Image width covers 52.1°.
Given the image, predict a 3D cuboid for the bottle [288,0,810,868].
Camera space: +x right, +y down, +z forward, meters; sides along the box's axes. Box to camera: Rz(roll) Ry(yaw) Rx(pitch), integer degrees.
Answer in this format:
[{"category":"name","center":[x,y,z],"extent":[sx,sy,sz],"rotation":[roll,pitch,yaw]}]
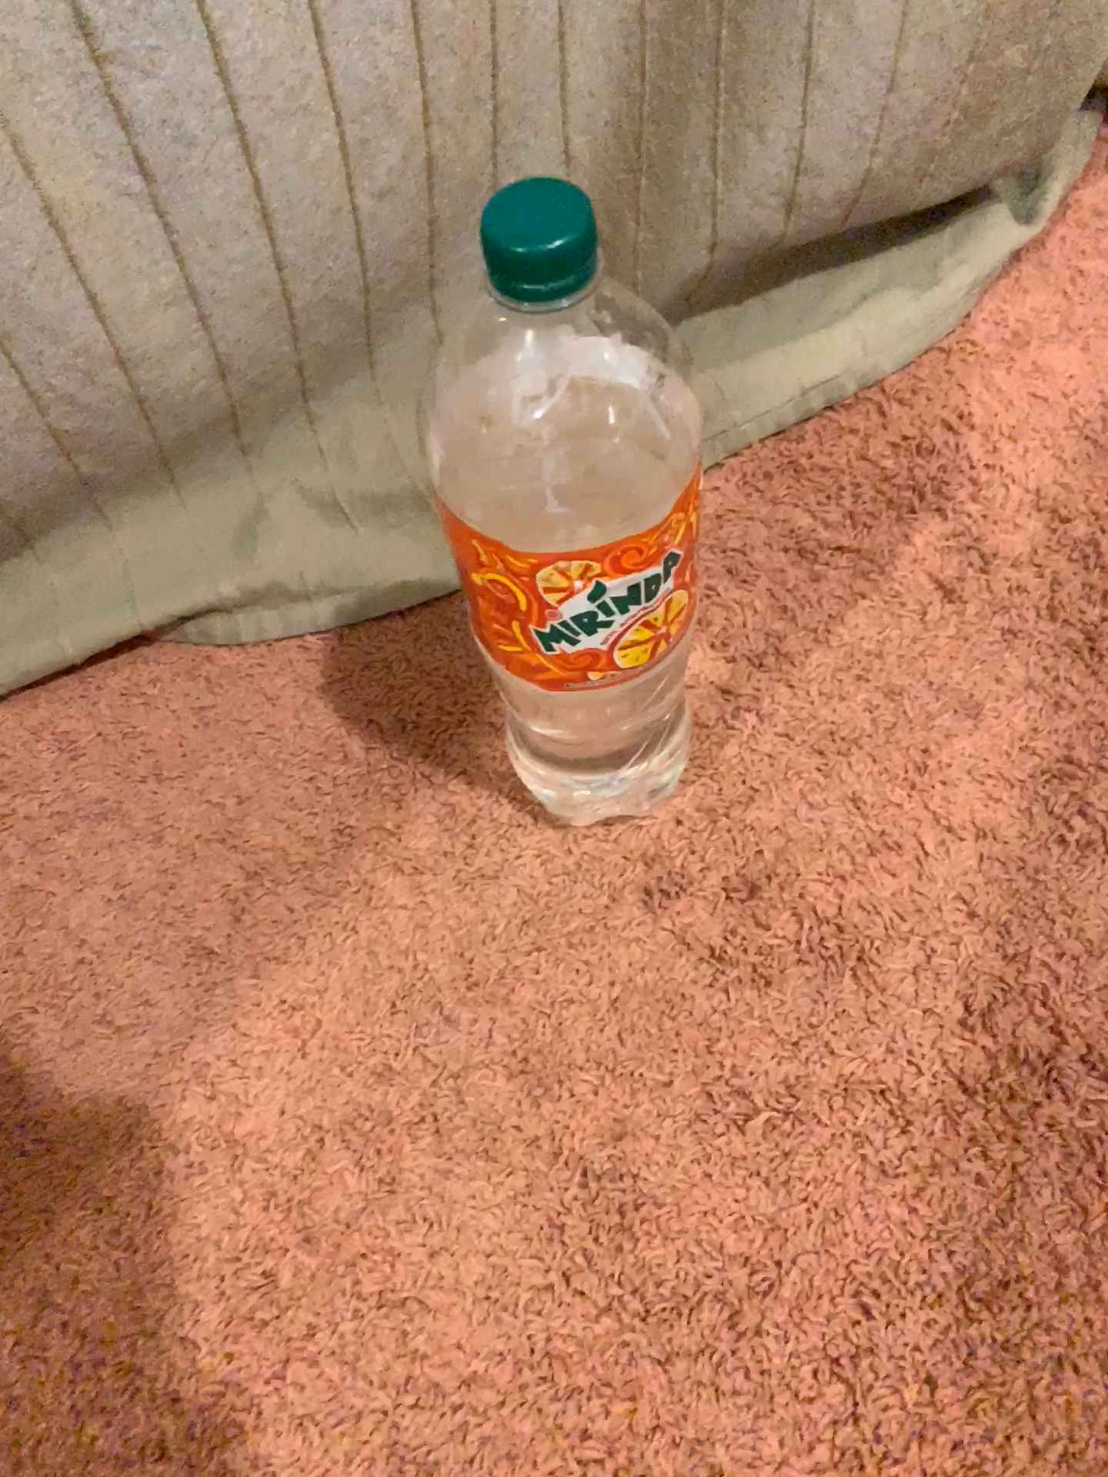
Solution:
[{"category":"bottle","center":[0.008,-0.072,0.409],"extent":[0.100,0.298,0.101],"rotation":[-3,61,5]}]
